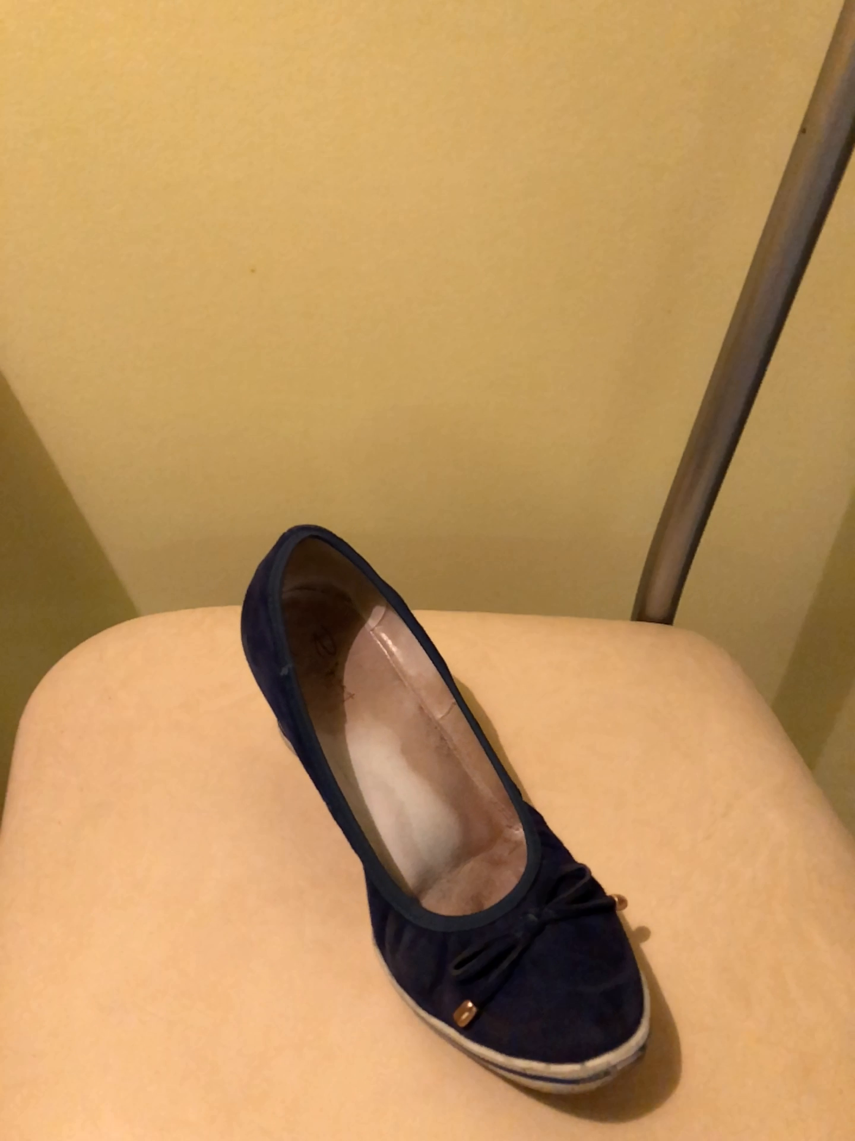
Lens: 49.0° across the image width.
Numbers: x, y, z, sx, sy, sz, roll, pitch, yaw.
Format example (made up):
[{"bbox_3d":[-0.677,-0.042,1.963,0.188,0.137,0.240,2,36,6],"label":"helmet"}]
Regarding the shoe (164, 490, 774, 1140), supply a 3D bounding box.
[{"bbox_3d":[-0.004,0.083,0.378,0.090,0.099,0.251,-24,46,-28],"label":"shoe"}]
